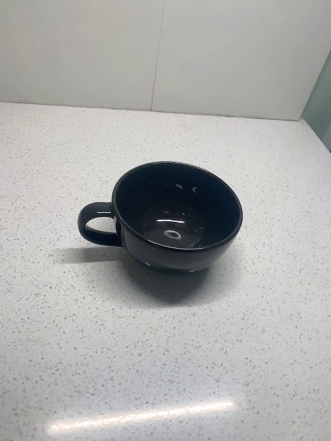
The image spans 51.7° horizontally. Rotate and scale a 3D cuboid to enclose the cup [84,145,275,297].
[{"bbox_3d":[0.001,-0.003,0.284,0.130,0.060,0.110,0,46,-11],"label":"cup"}]
